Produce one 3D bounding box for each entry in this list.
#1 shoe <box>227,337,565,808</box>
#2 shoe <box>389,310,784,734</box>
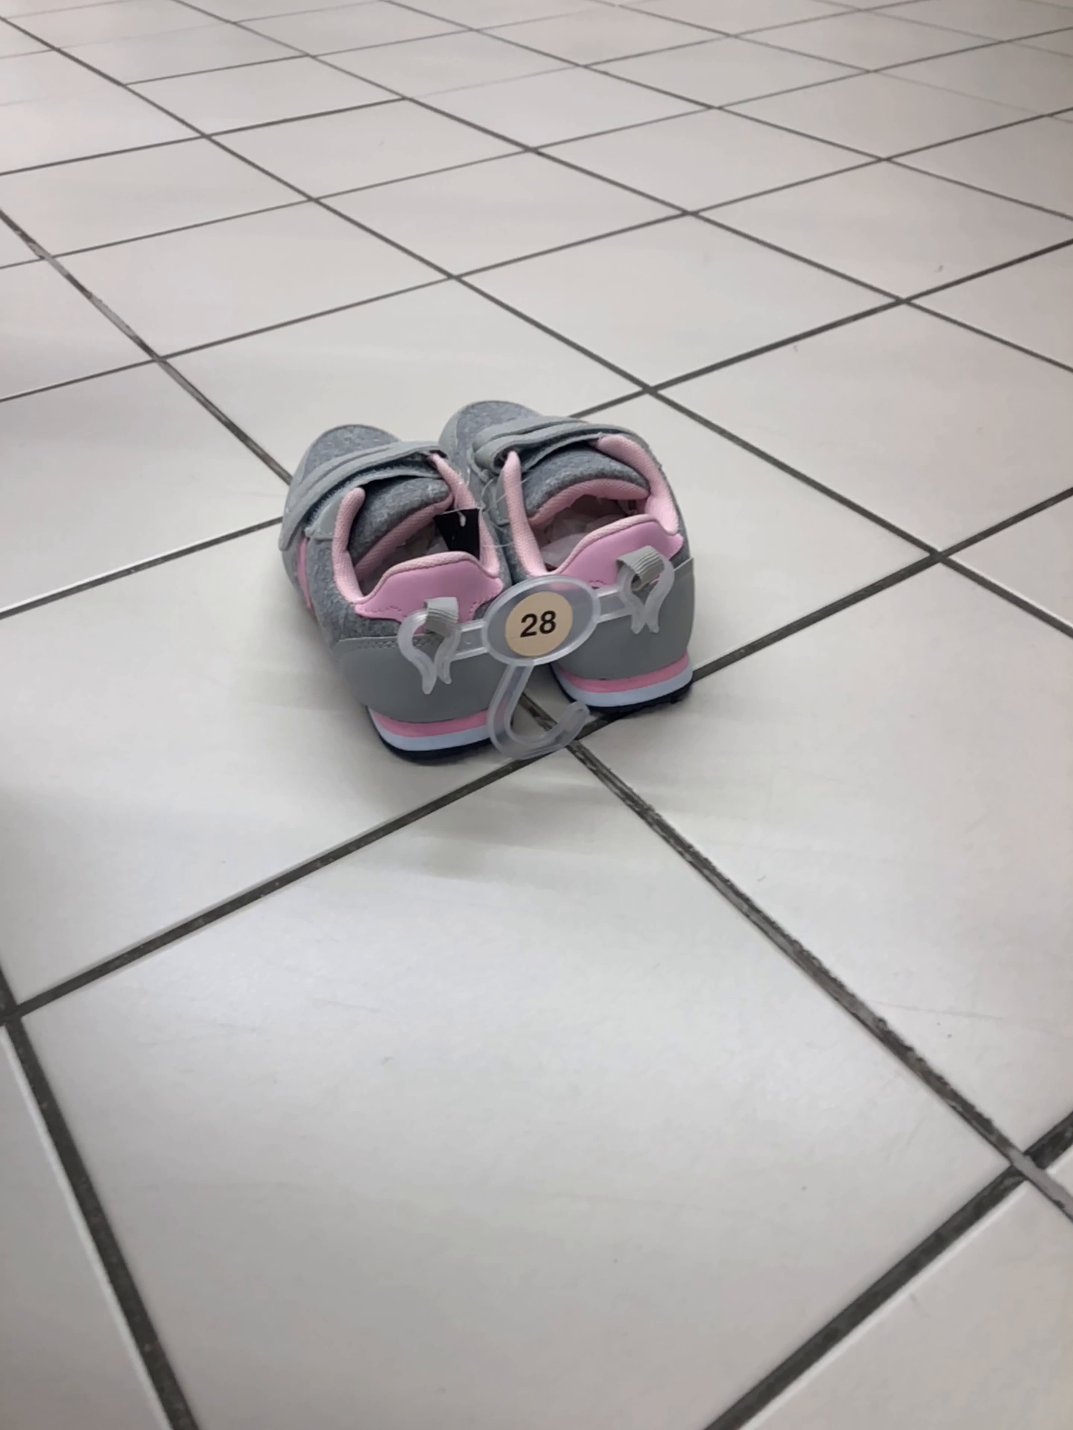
[{"bbox_3d":[-0.057,-0.063,0.444,0.080,0.080,0.181,-13,42,-13],"label":"shoe"},{"bbox_3d":[0.010,-0.084,0.458,0.080,0.070,0.181,-15,42,-16],"label":"shoe"}]
